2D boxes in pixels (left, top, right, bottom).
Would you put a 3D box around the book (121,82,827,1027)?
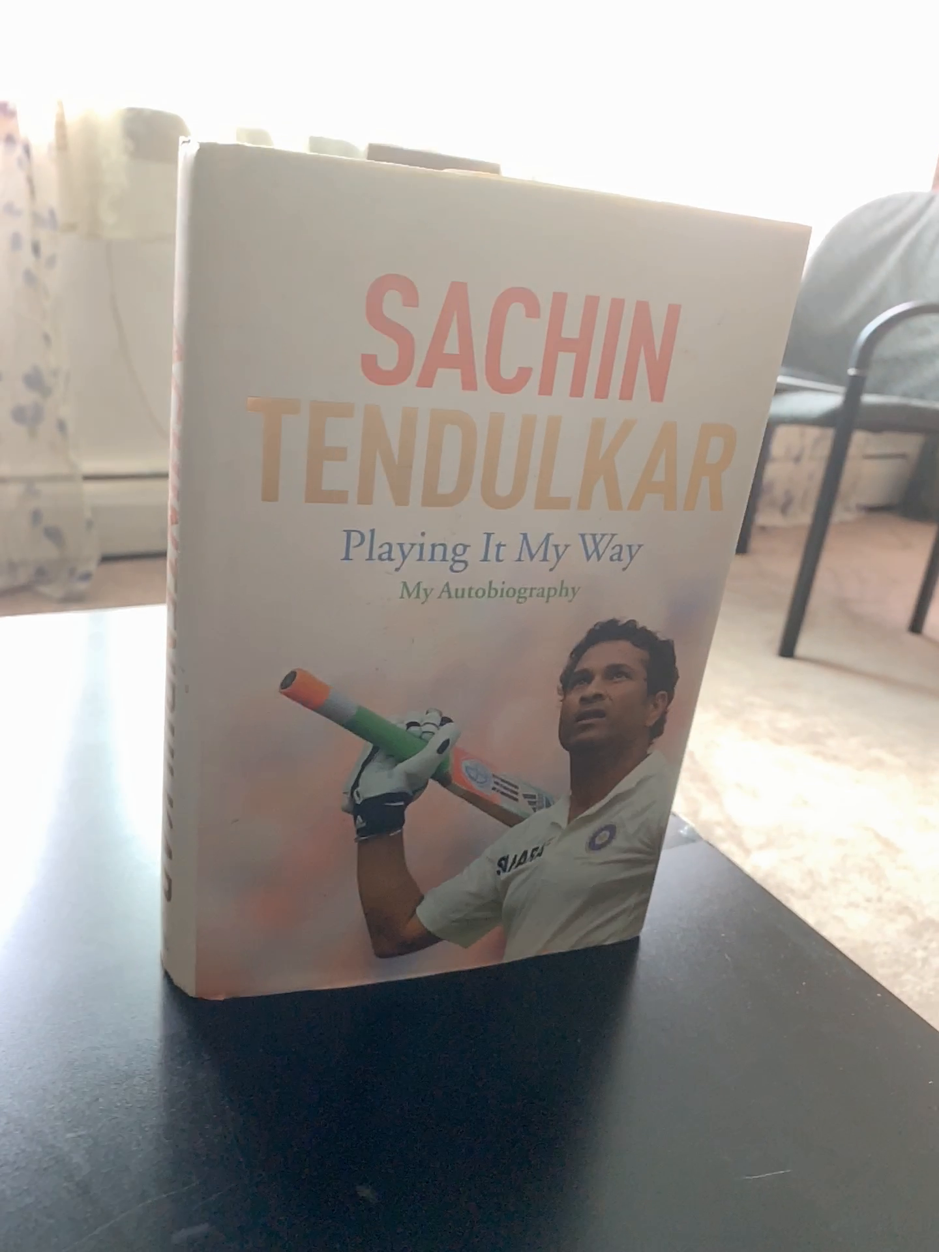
[{"bbox_3d":[-0.010,-0.011,0.291,0.170,0.238,0.060,-2,23,-21],"label":"book"}]
